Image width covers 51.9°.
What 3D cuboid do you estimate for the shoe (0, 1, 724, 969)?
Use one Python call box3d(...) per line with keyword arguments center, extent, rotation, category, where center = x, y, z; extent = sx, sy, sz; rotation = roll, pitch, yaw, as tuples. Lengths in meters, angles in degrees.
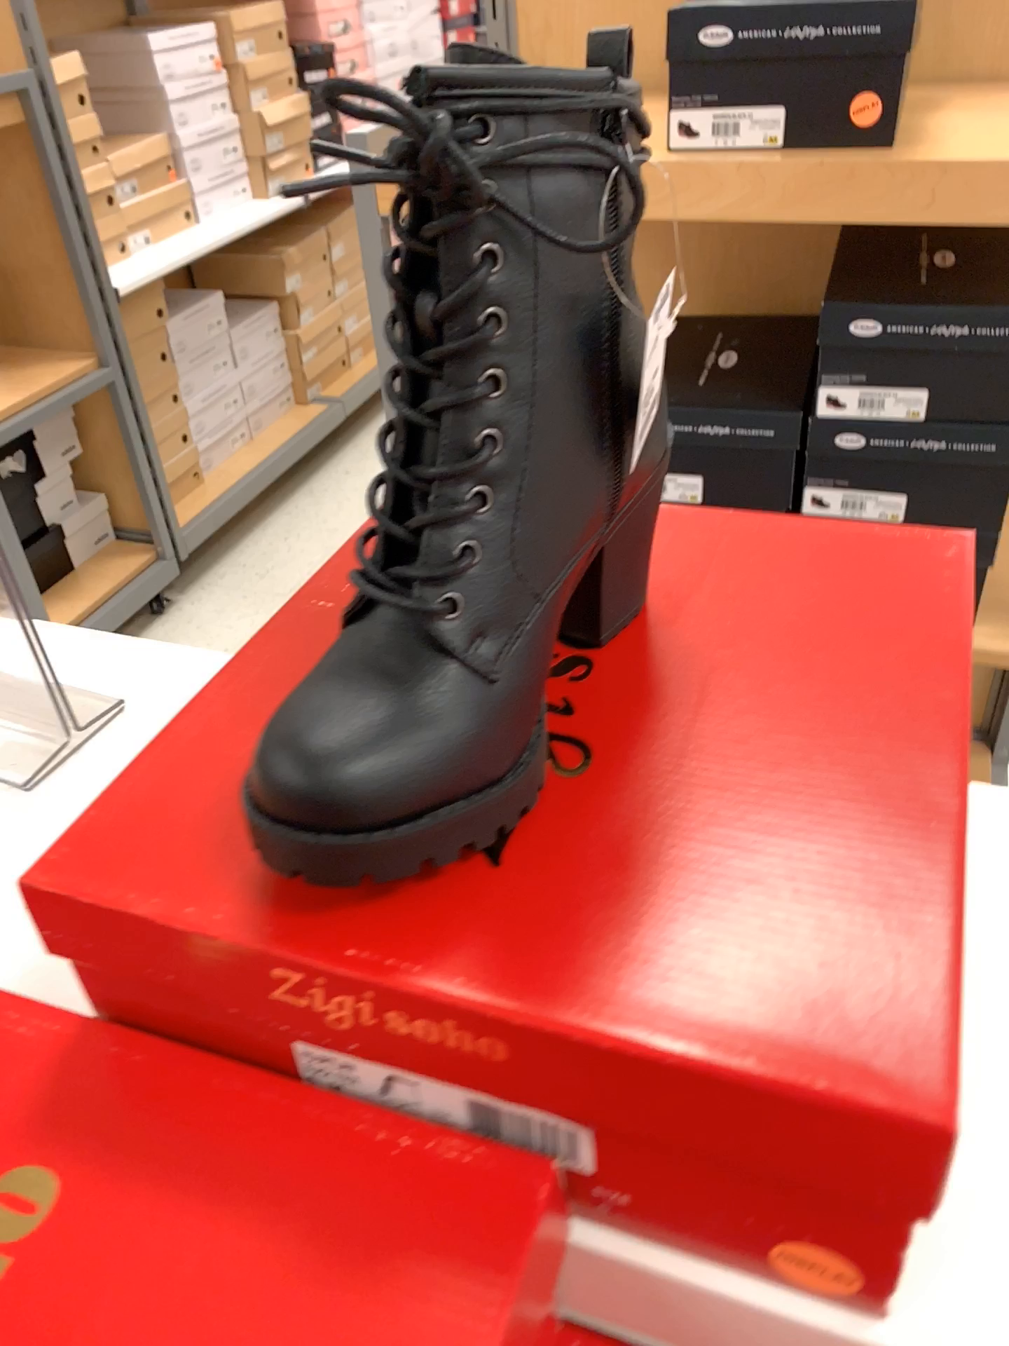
box3d(center=(-0.022, -0.068, 0.309), extent=(0.092, 0.203, 0.201), rotation=(17, 41, 27), category="shoe")
